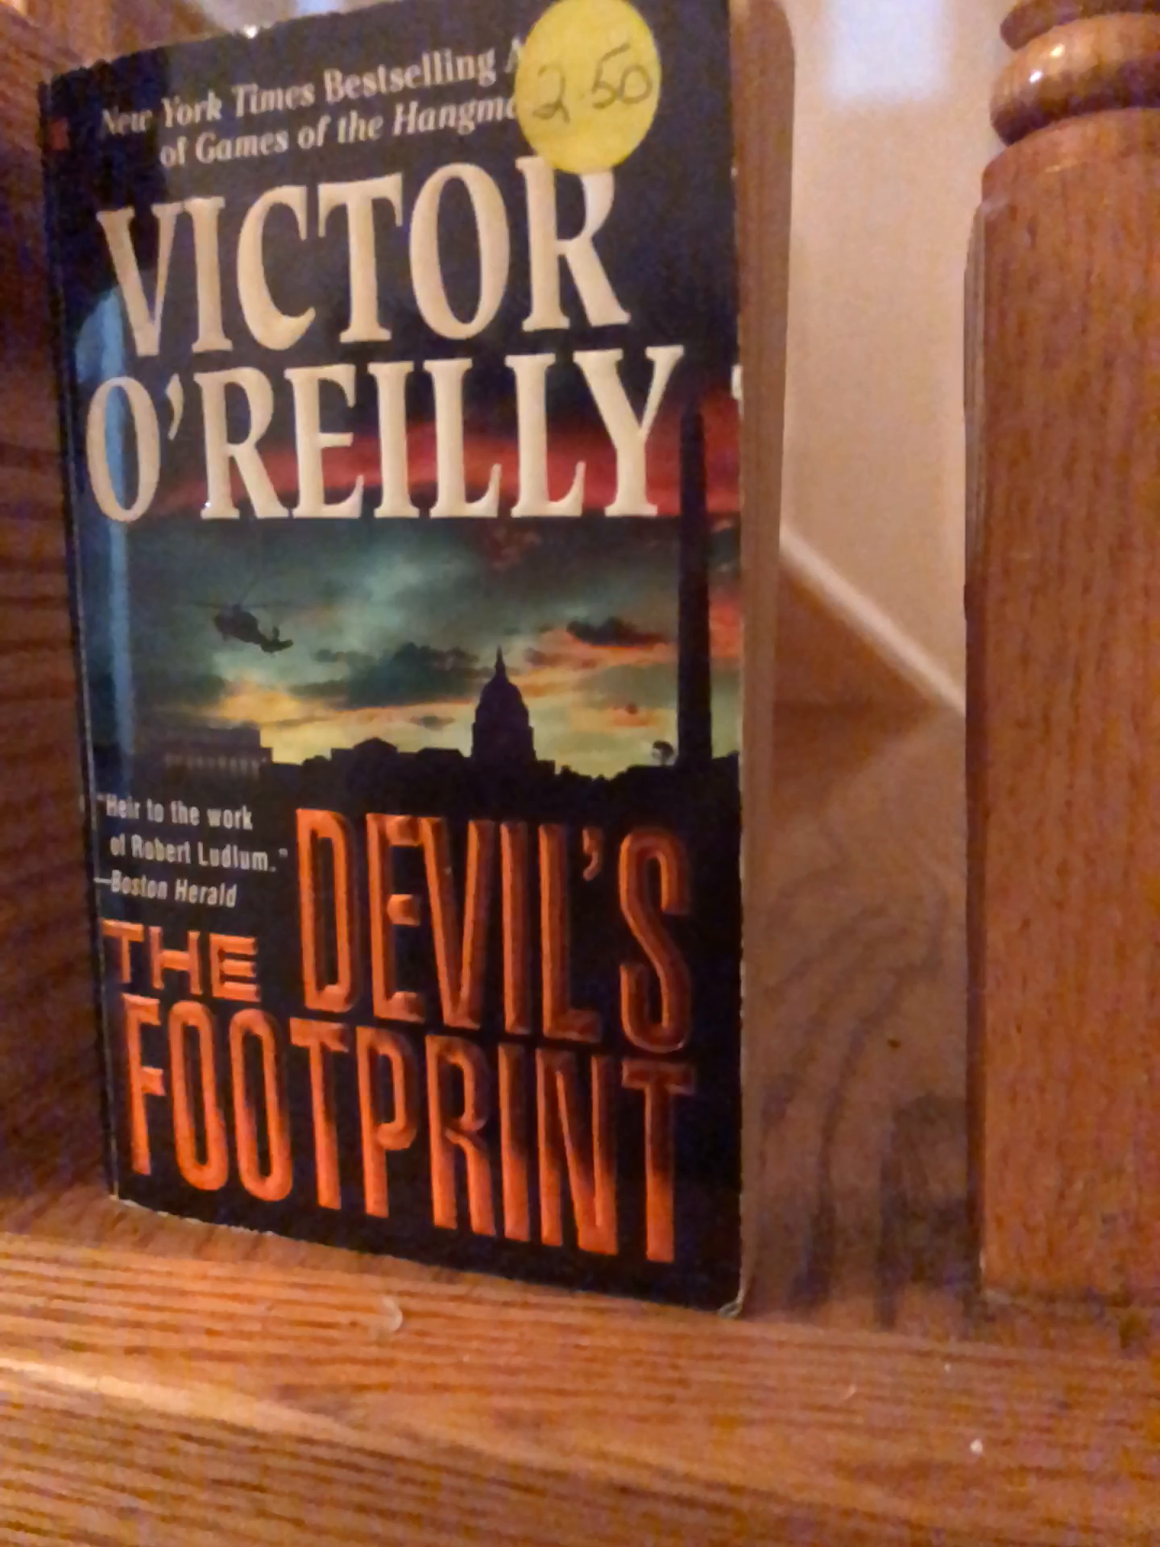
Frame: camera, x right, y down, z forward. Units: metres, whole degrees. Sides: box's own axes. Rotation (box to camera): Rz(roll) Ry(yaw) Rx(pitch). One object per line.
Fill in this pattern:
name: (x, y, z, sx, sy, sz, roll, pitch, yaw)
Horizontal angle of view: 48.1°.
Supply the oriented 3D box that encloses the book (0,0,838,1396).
book: (-0.027, -0.014, 0.193, 0.120, 0.170, 0.050, 2, 10, 23)
